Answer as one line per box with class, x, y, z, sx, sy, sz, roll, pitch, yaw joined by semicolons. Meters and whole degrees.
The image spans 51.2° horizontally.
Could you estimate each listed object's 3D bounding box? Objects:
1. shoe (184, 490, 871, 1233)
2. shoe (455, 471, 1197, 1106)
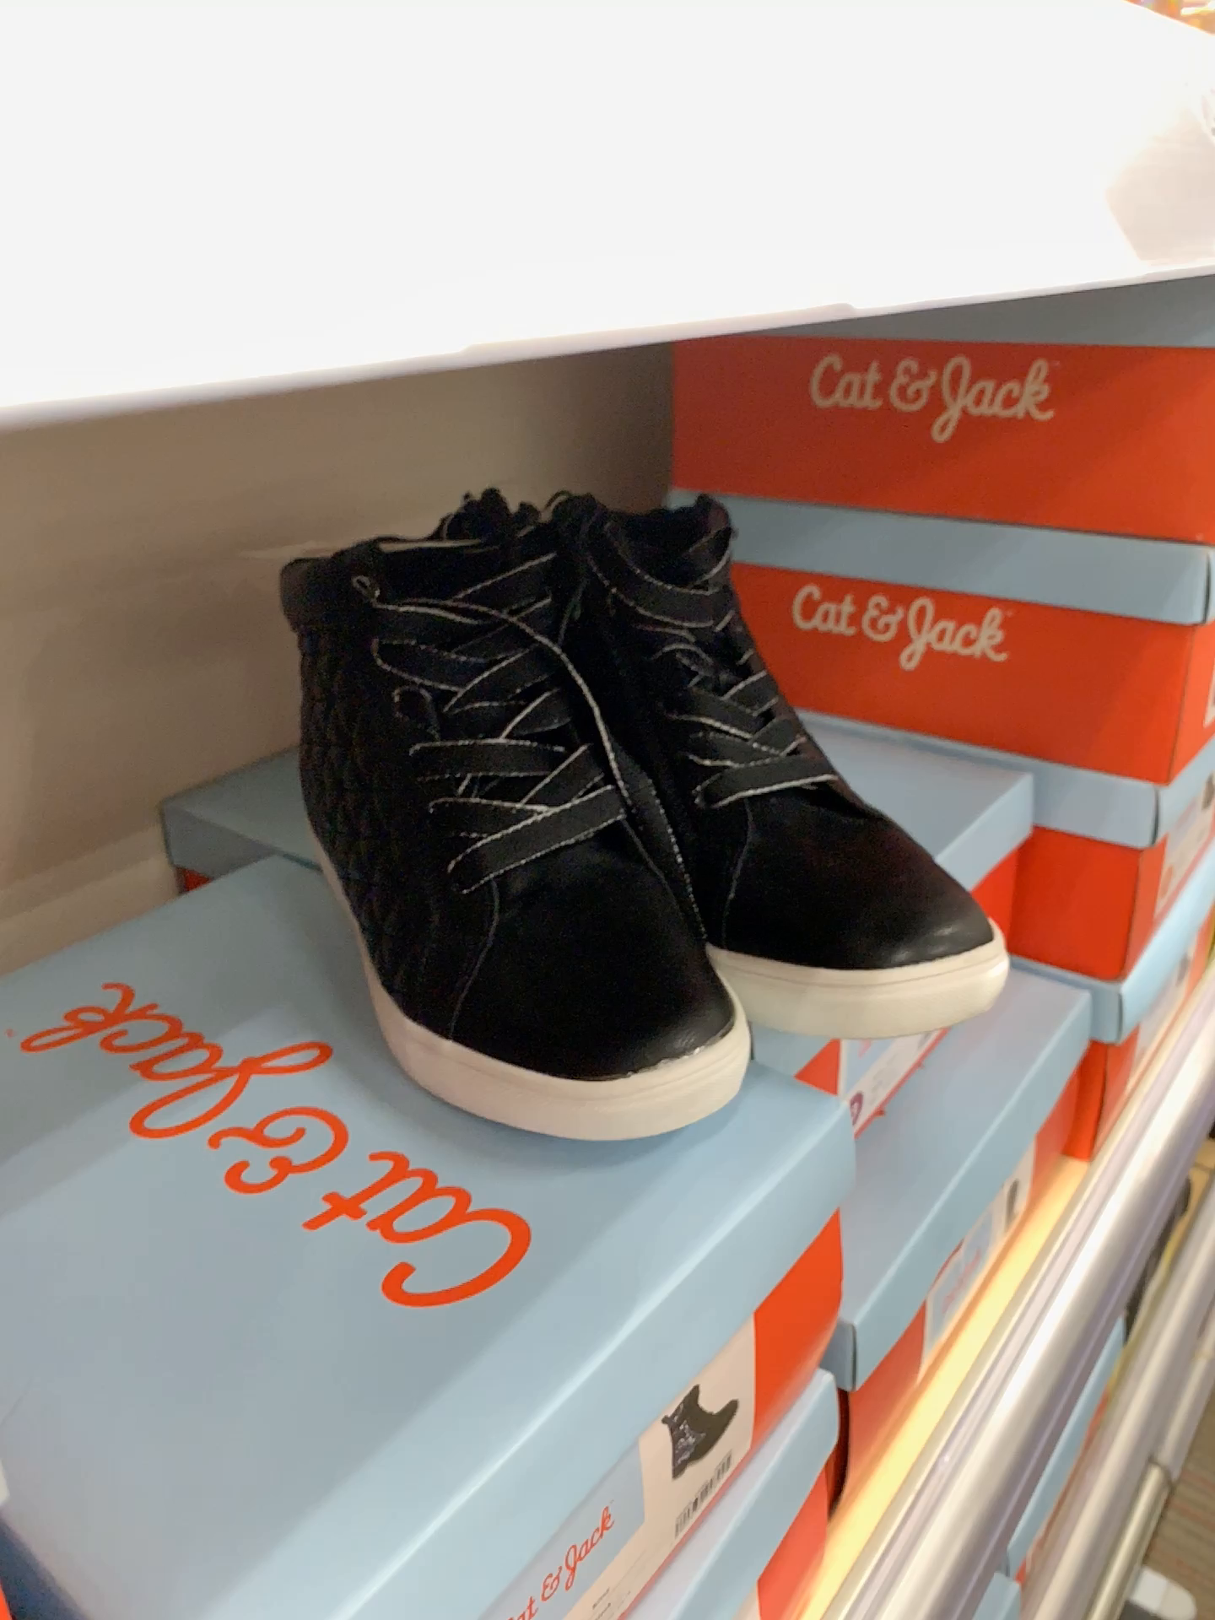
shoe;-0.041;-0.010;0.381;0.100;0.119;0.231;-14;29;-27
shoe;0.046;-0.029;0.407;0.100;0.109;0.231;-14;29;-27
